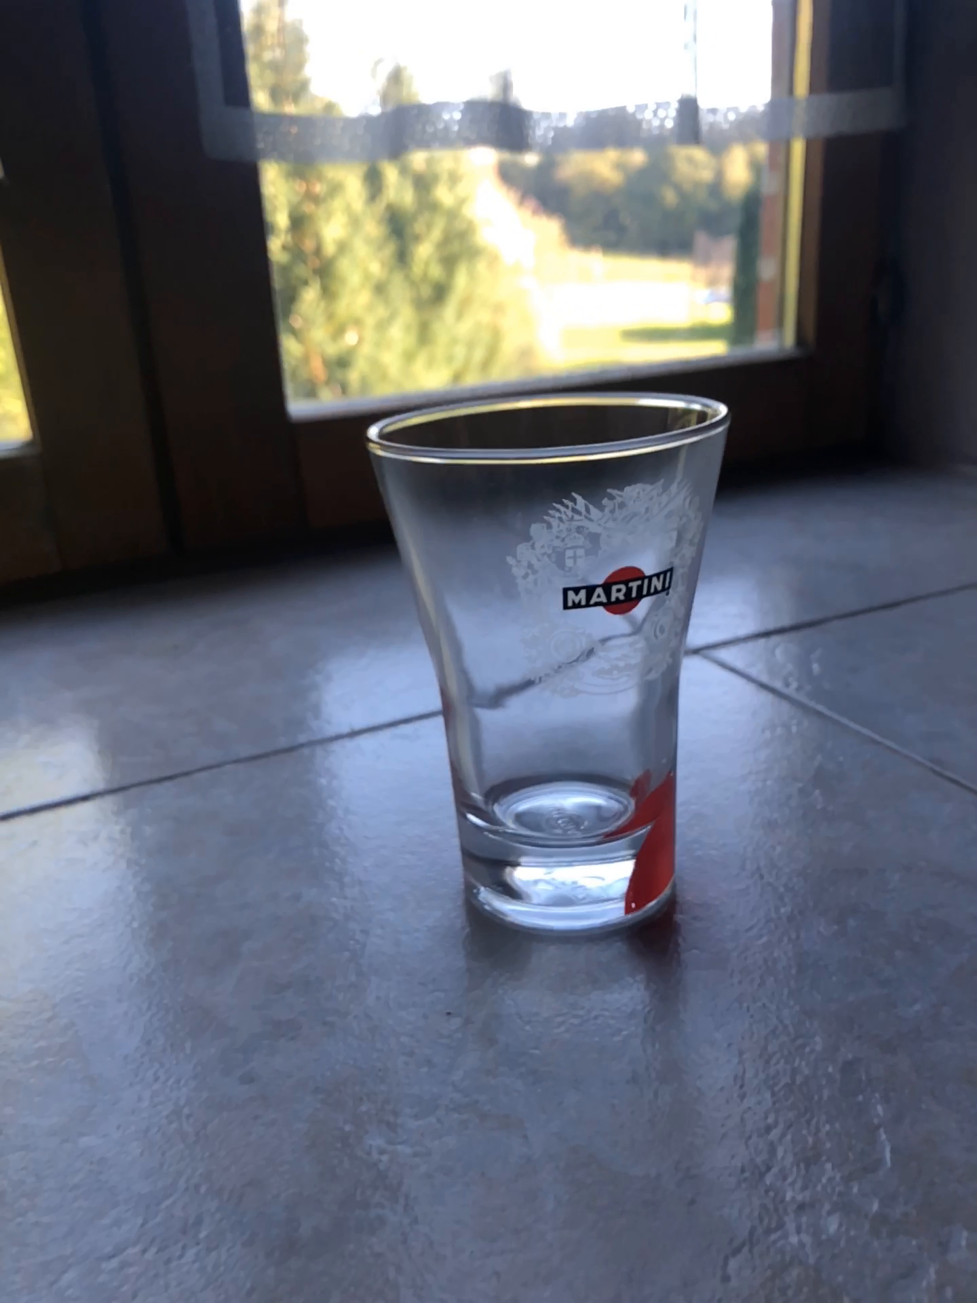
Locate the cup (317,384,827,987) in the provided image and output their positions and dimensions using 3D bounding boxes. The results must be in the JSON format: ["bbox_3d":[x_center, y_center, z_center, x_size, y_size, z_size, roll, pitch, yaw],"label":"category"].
[{"bbox_3d":[0.016,0.000,0.283,0.096,0.116,0.092,-3,22,1],"label":"cup"}]
